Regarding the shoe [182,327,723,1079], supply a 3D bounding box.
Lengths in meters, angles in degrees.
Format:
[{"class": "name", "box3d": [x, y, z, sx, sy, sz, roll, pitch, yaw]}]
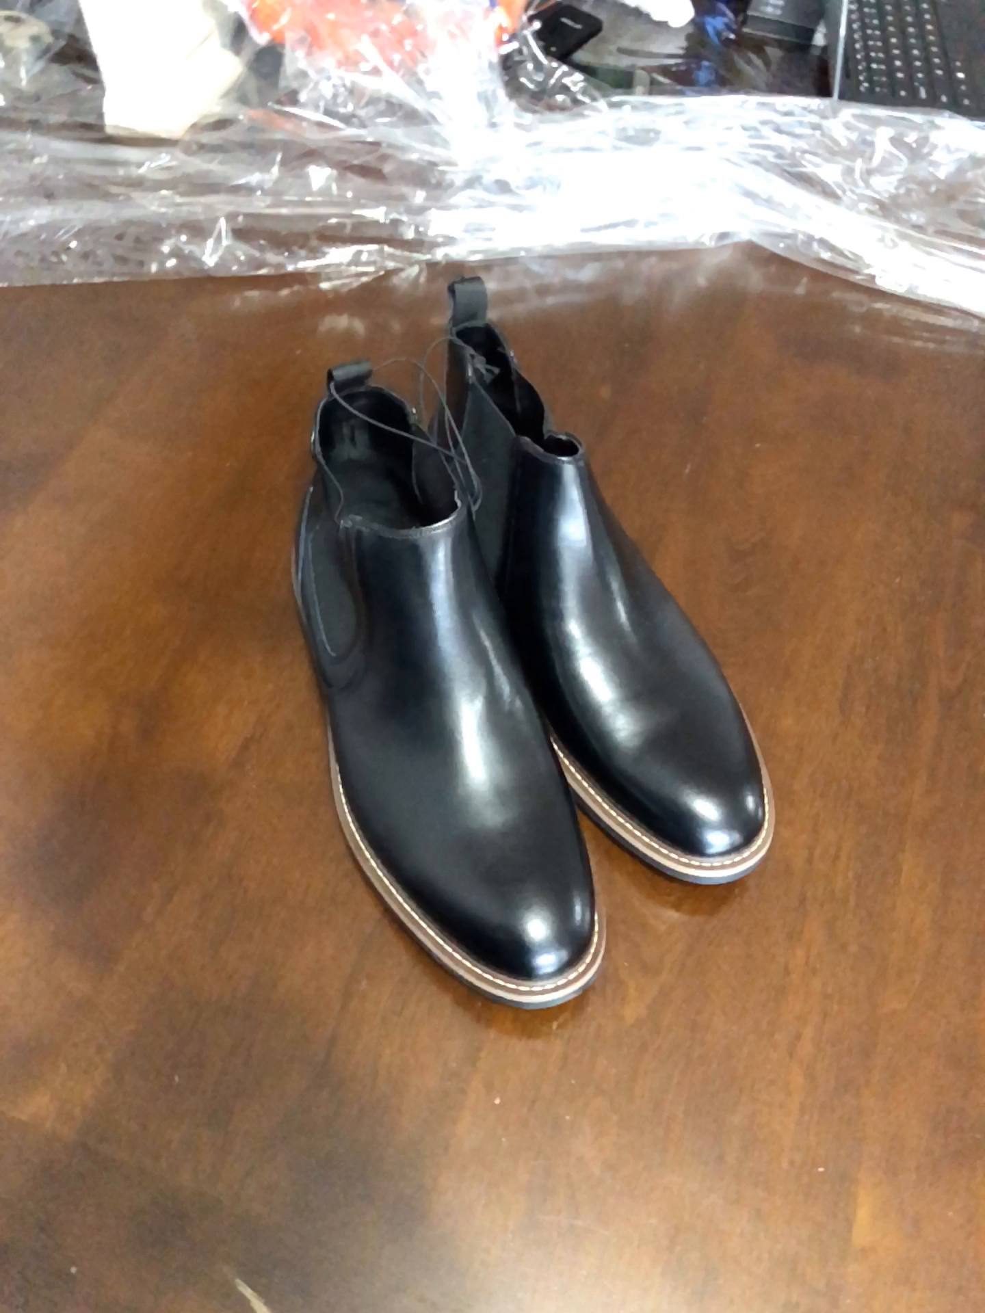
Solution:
[{"class": "shoe", "box3d": [-0.035, 0.016, 0.529, 0.120, 0.170, 0.300, -19, 59, -15]}]

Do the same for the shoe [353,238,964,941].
[{"class": "shoe", "box3d": [0.056, -0.040, 0.556, 0.120, 0.170, 0.300, -25, 61, -18]}]
